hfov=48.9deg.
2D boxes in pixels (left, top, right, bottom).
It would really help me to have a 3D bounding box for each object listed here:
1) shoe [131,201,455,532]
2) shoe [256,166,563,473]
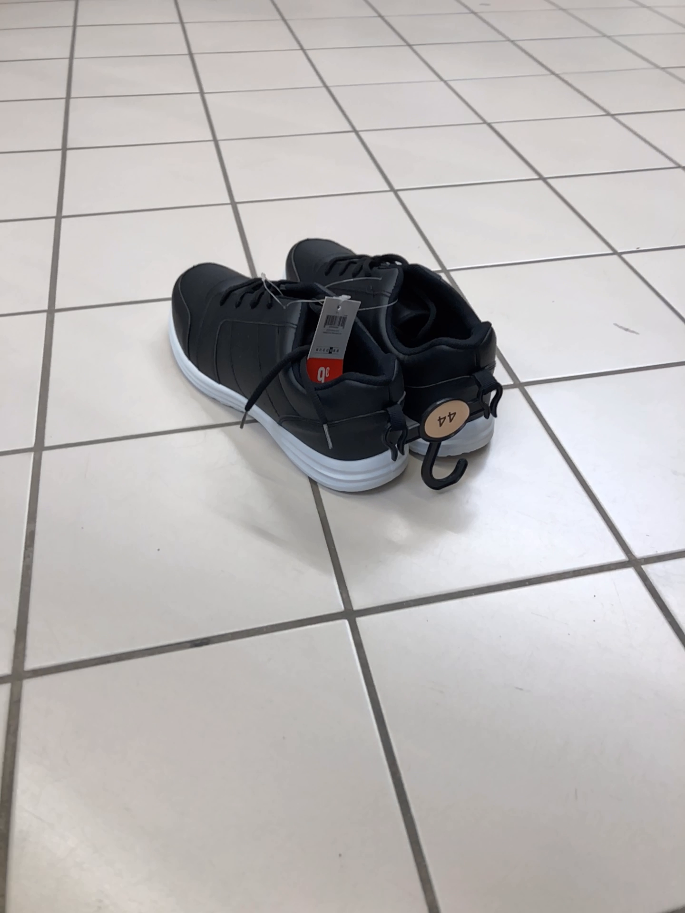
[{"bbox_3d":[-0.053,-0.090,0.628,0.110,0.119,0.291,-26,49,-26],"label":"shoe"},{"bbox_3d":[0.040,-0.136,0.664,0.110,0.119,0.291,-21,47,-23],"label":"shoe"}]
